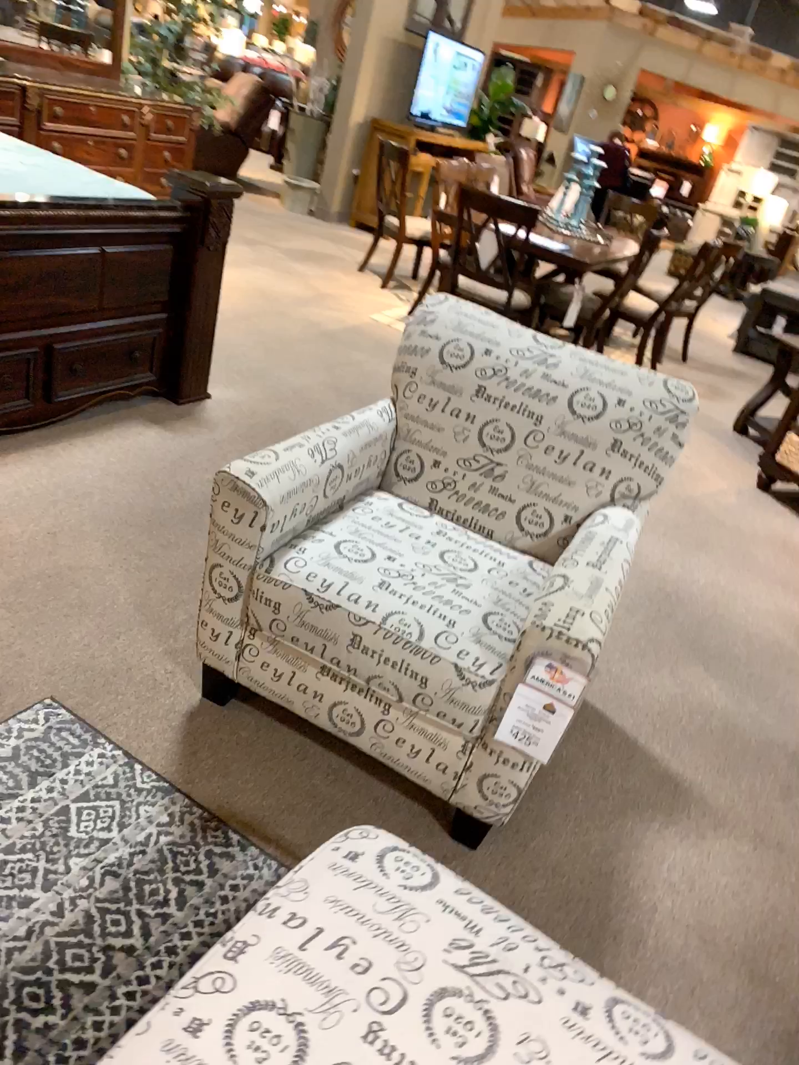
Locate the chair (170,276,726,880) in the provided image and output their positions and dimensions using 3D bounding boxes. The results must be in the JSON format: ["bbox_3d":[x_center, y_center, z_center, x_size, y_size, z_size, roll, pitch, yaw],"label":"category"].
[{"bbox_3d":[0.139,0.001,1.928,0.834,0.869,0.920,25,30,15],"label":"chair"}]
